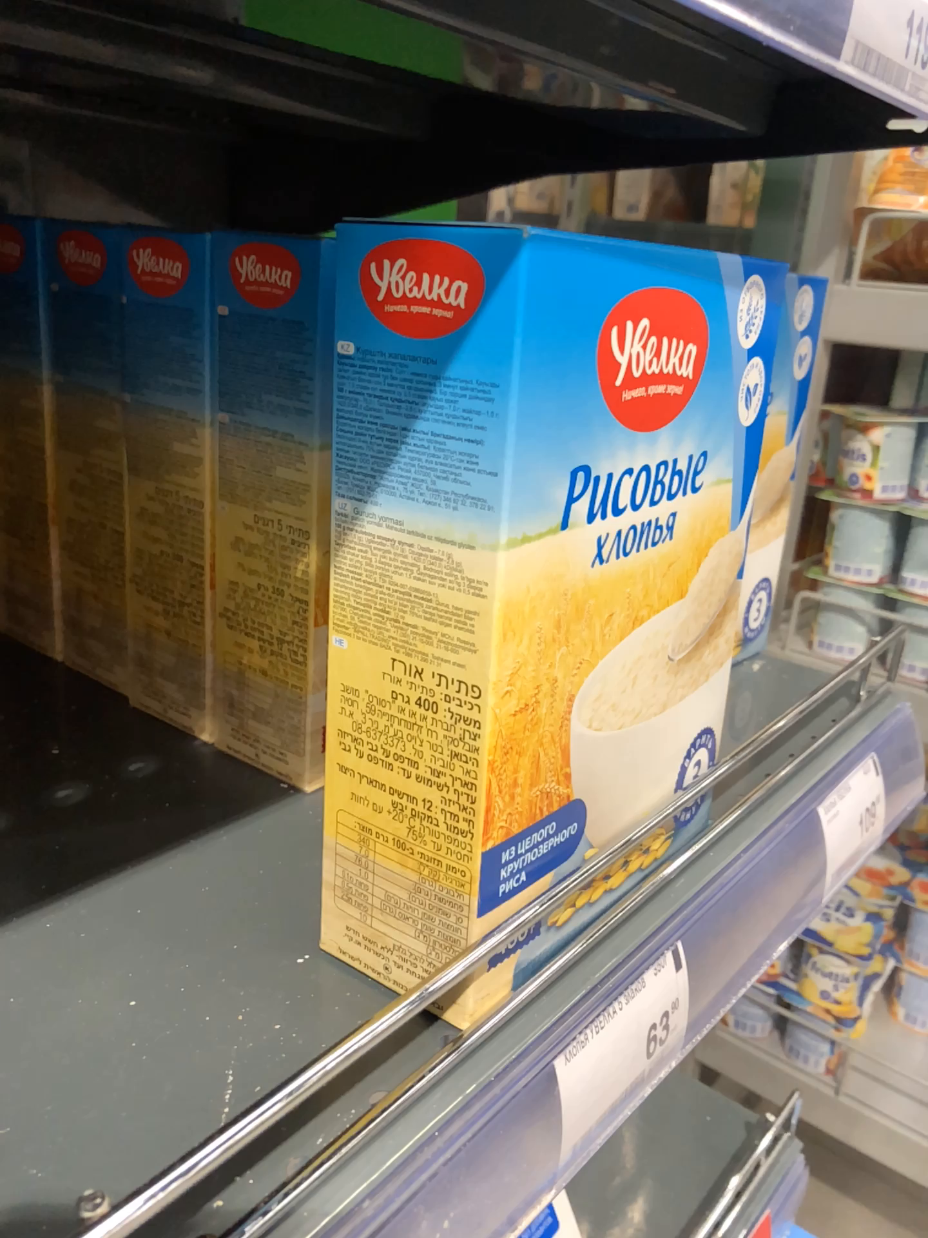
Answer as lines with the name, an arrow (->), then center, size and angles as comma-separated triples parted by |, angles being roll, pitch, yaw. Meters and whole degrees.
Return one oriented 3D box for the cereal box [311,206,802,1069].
cereal box -> 0.029, -0.005, 0.297 | 0.060, 0.199, 0.140 | 16, 21, 33
